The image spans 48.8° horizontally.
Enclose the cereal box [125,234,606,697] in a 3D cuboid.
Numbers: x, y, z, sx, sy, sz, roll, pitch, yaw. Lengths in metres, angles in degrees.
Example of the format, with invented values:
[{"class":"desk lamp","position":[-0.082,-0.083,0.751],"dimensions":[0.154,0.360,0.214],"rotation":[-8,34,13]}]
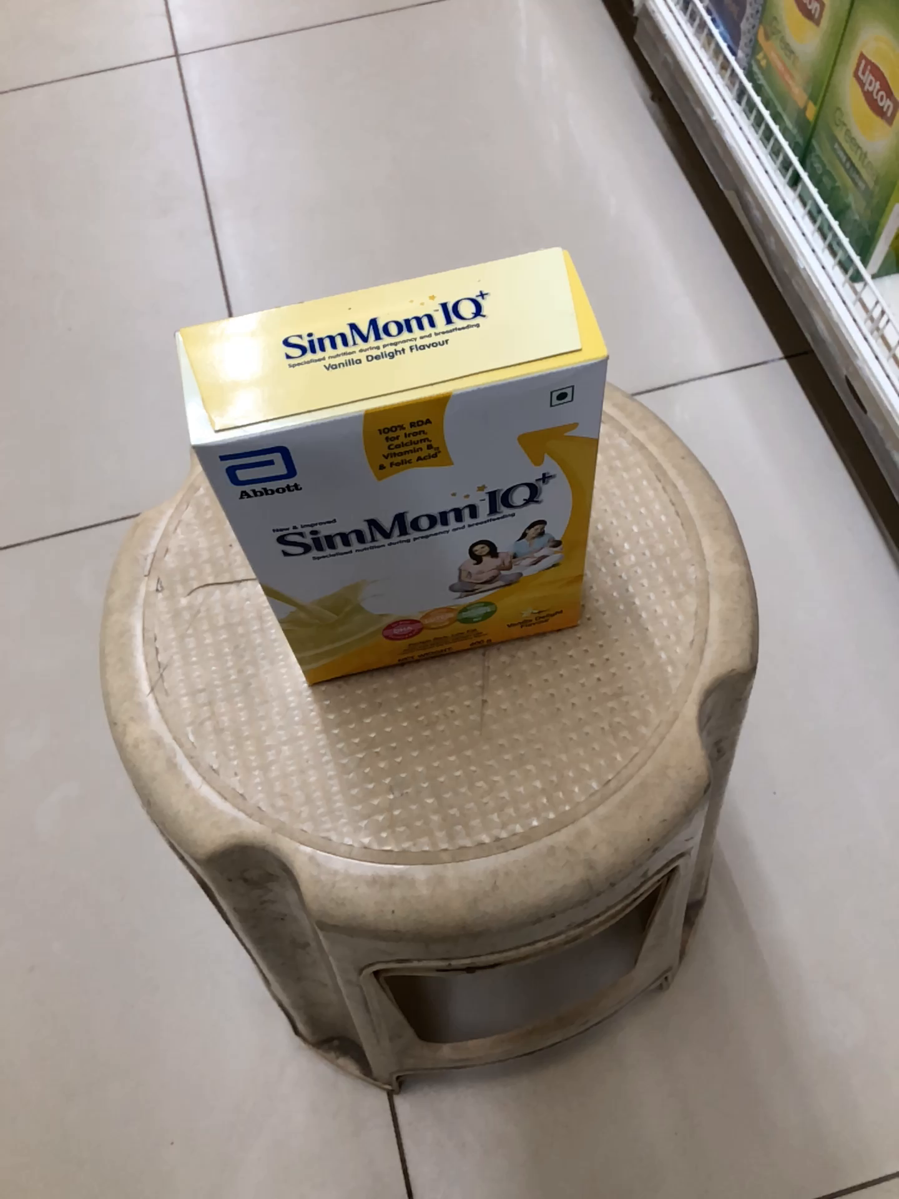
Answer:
[{"class":"cereal box","position":[-0.022,-0.035,0.388],"dimensions":[0.140,0.199,0.050],"rotation":[-12,63,-2]}]
